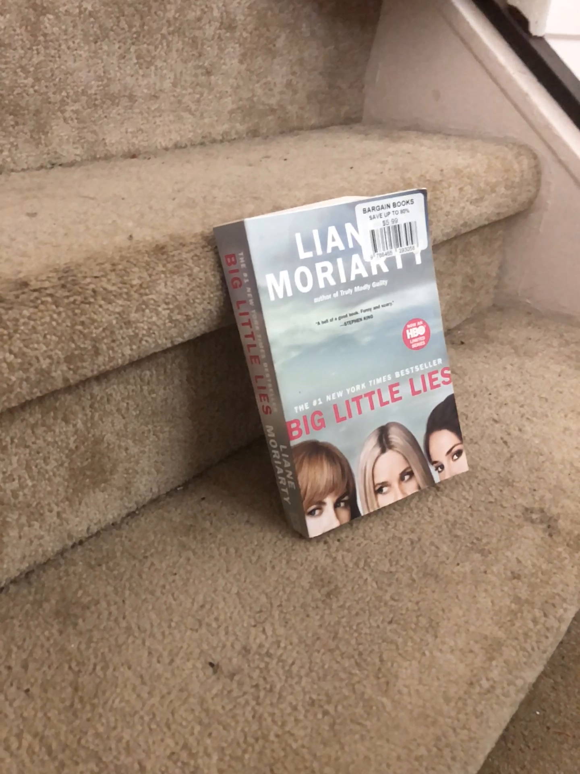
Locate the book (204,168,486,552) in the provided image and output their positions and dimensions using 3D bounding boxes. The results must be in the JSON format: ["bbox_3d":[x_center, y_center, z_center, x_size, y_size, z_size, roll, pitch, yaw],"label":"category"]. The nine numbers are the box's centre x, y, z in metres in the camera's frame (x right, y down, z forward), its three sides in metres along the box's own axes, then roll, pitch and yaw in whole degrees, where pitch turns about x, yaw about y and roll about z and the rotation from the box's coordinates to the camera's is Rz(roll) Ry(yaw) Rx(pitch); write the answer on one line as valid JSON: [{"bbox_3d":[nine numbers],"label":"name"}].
[{"bbox_3d":[0.046,-0.026,0.424,0.160,0.209,0.050,-19,14,-32],"label":"book"}]
